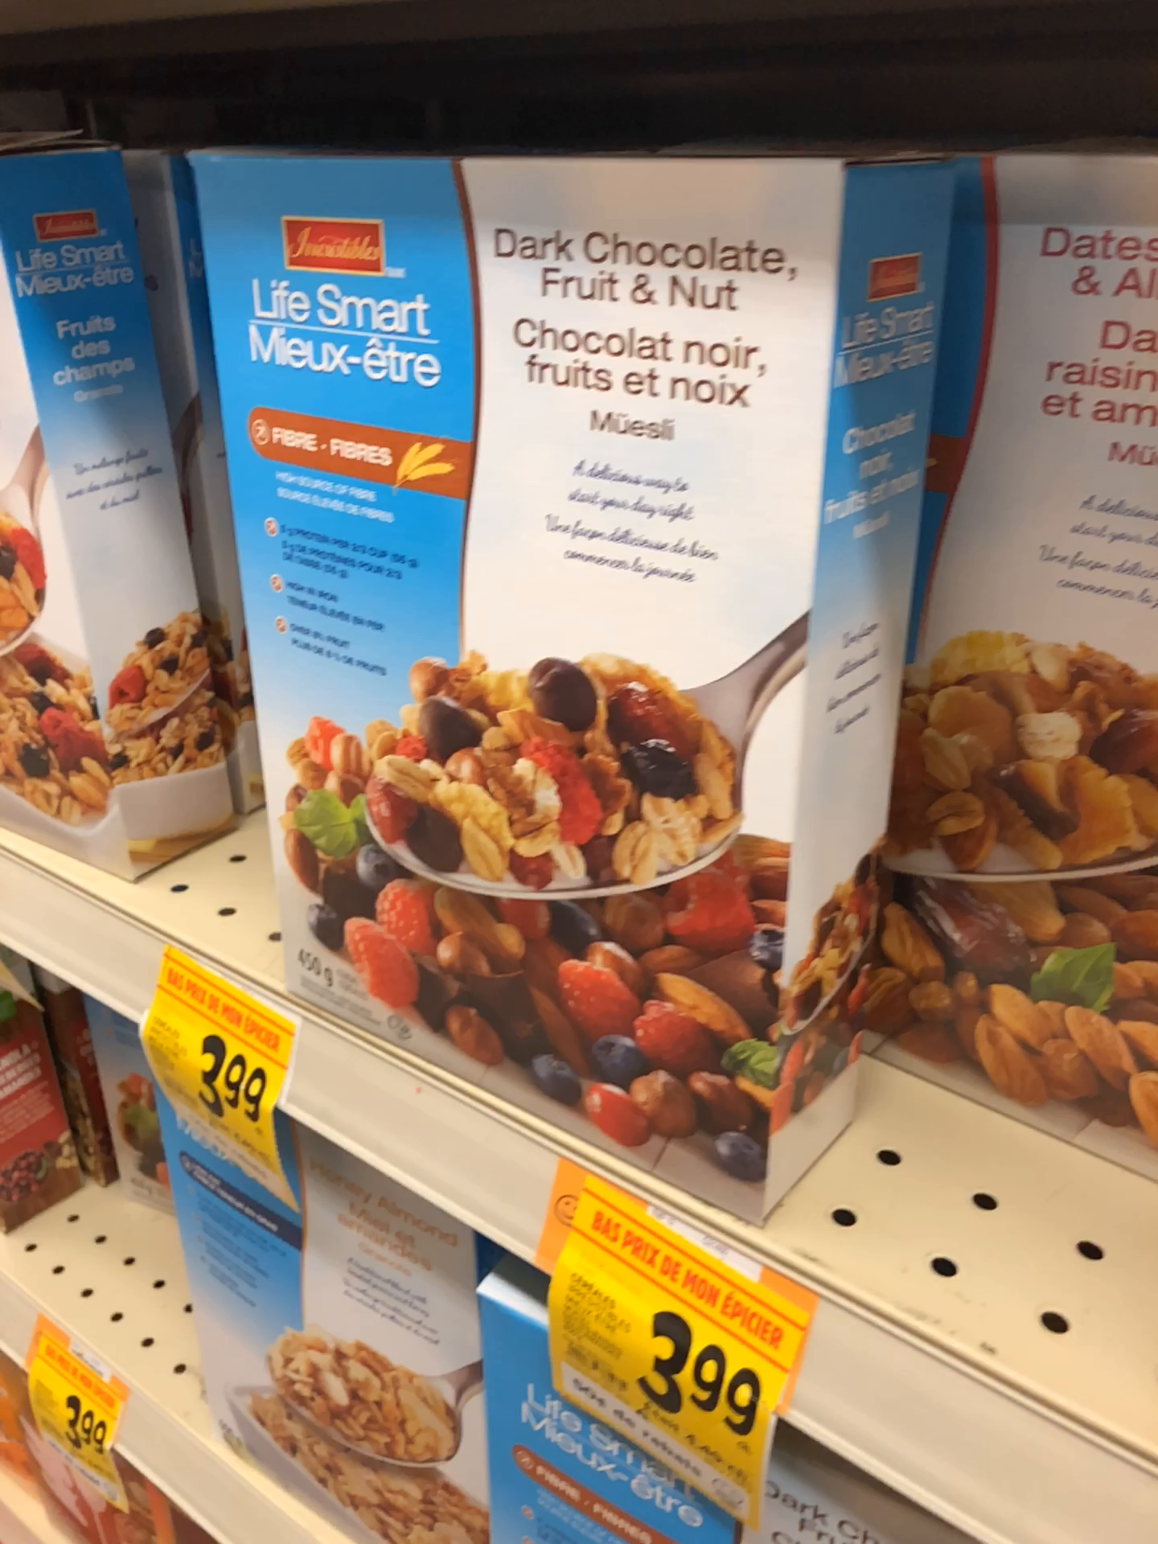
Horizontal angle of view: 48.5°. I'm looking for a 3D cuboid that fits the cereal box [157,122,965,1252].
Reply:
[{"bbox_3d":[-0.012,-0.025,0.315,0.170,0.238,0.050,18,31,33],"label":"cereal box"}]
